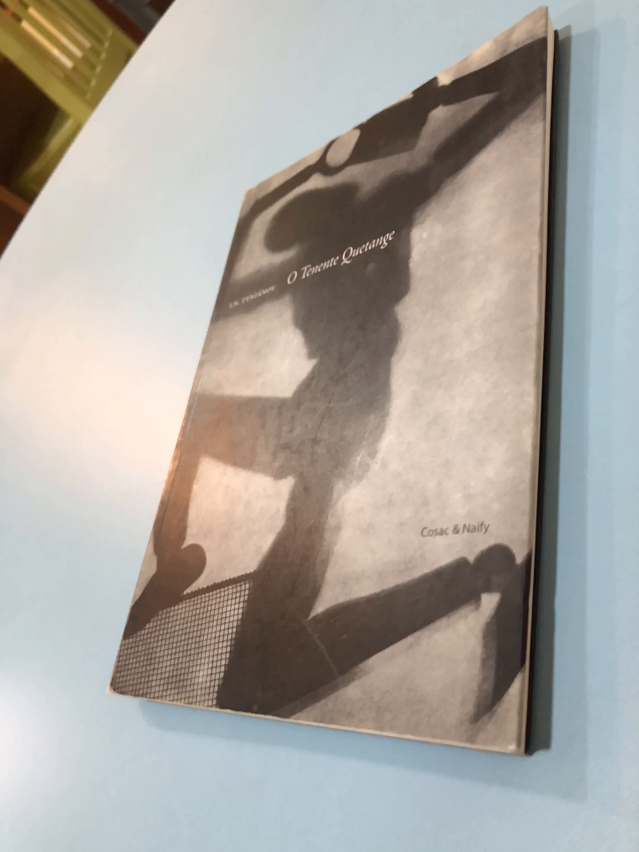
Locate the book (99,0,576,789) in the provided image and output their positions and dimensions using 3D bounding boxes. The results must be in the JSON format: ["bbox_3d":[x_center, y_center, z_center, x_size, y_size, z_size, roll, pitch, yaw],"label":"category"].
[{"bbox_3d":[0.005,-0.015,0.210,0.135,0.016,0.197,-13,57,42],"label":"book"}]
